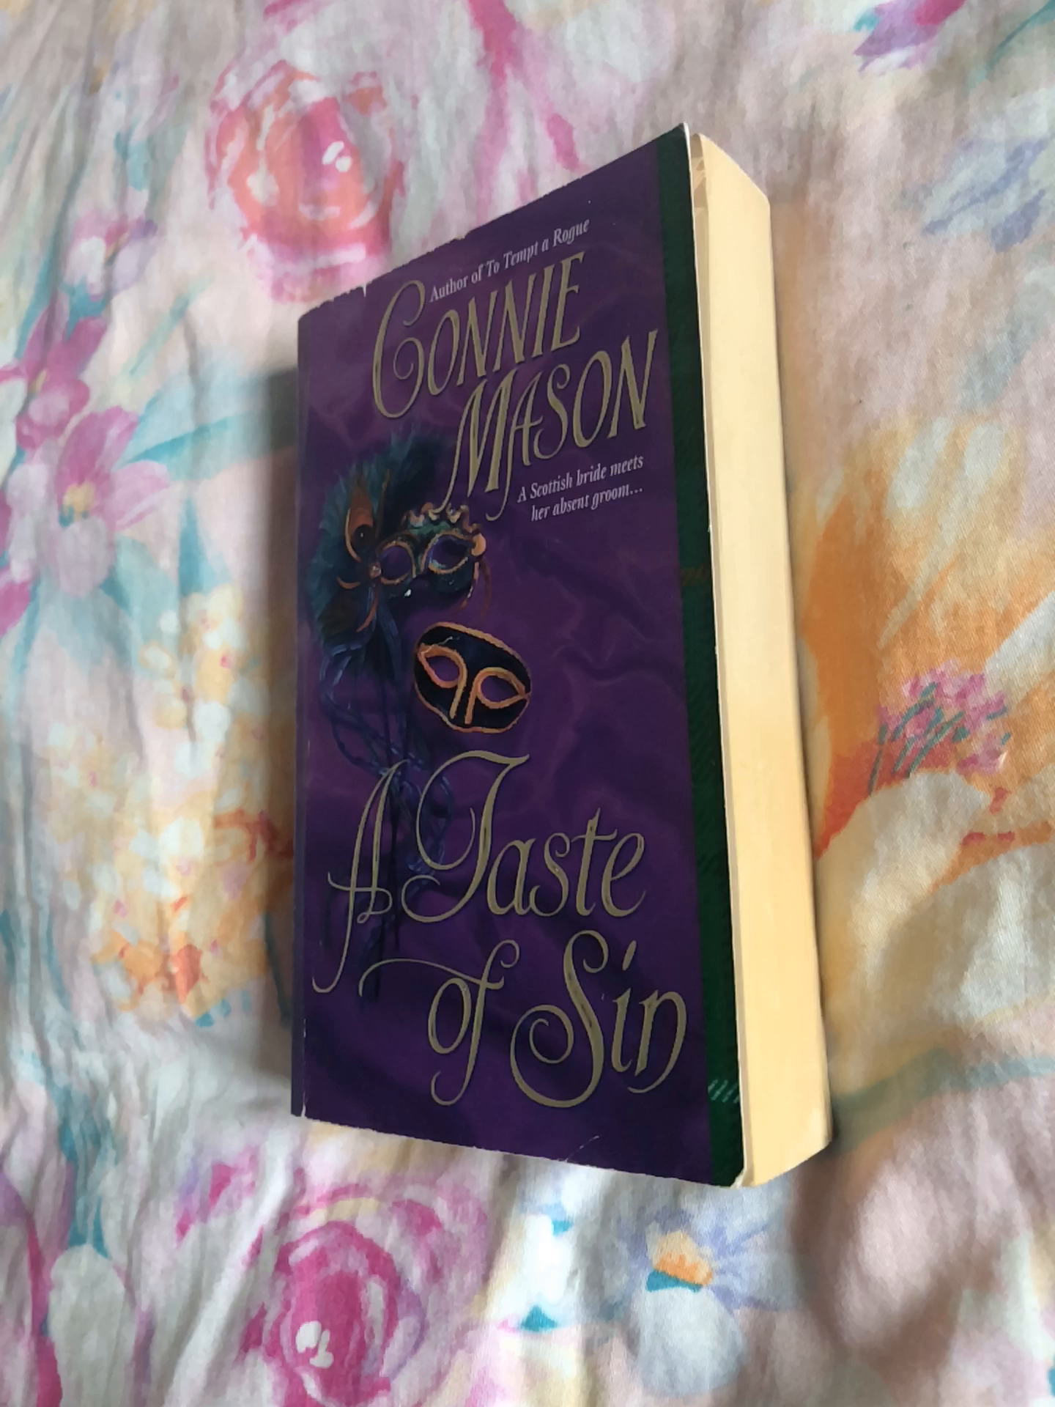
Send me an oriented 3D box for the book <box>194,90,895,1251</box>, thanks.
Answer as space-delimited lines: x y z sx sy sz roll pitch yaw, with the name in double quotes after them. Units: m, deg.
-0.002 -0.004 0.226 0.120 0.040 0.180 -8 76 32 "book"
